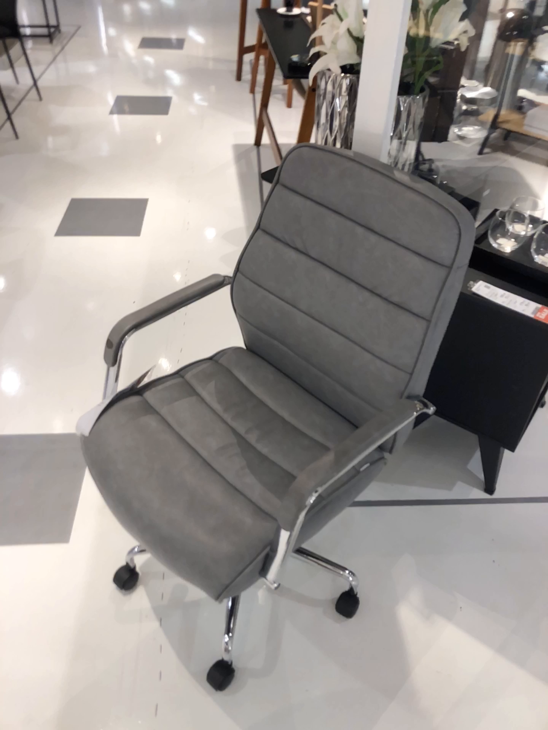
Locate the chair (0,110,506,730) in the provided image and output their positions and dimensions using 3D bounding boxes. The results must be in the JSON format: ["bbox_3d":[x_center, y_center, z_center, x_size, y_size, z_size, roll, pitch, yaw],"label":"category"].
[{"bbox_3d":[-0.088,0.137,1.199,0.552,0.993,0.602,-29,50,-31],"label":"chair"}]
